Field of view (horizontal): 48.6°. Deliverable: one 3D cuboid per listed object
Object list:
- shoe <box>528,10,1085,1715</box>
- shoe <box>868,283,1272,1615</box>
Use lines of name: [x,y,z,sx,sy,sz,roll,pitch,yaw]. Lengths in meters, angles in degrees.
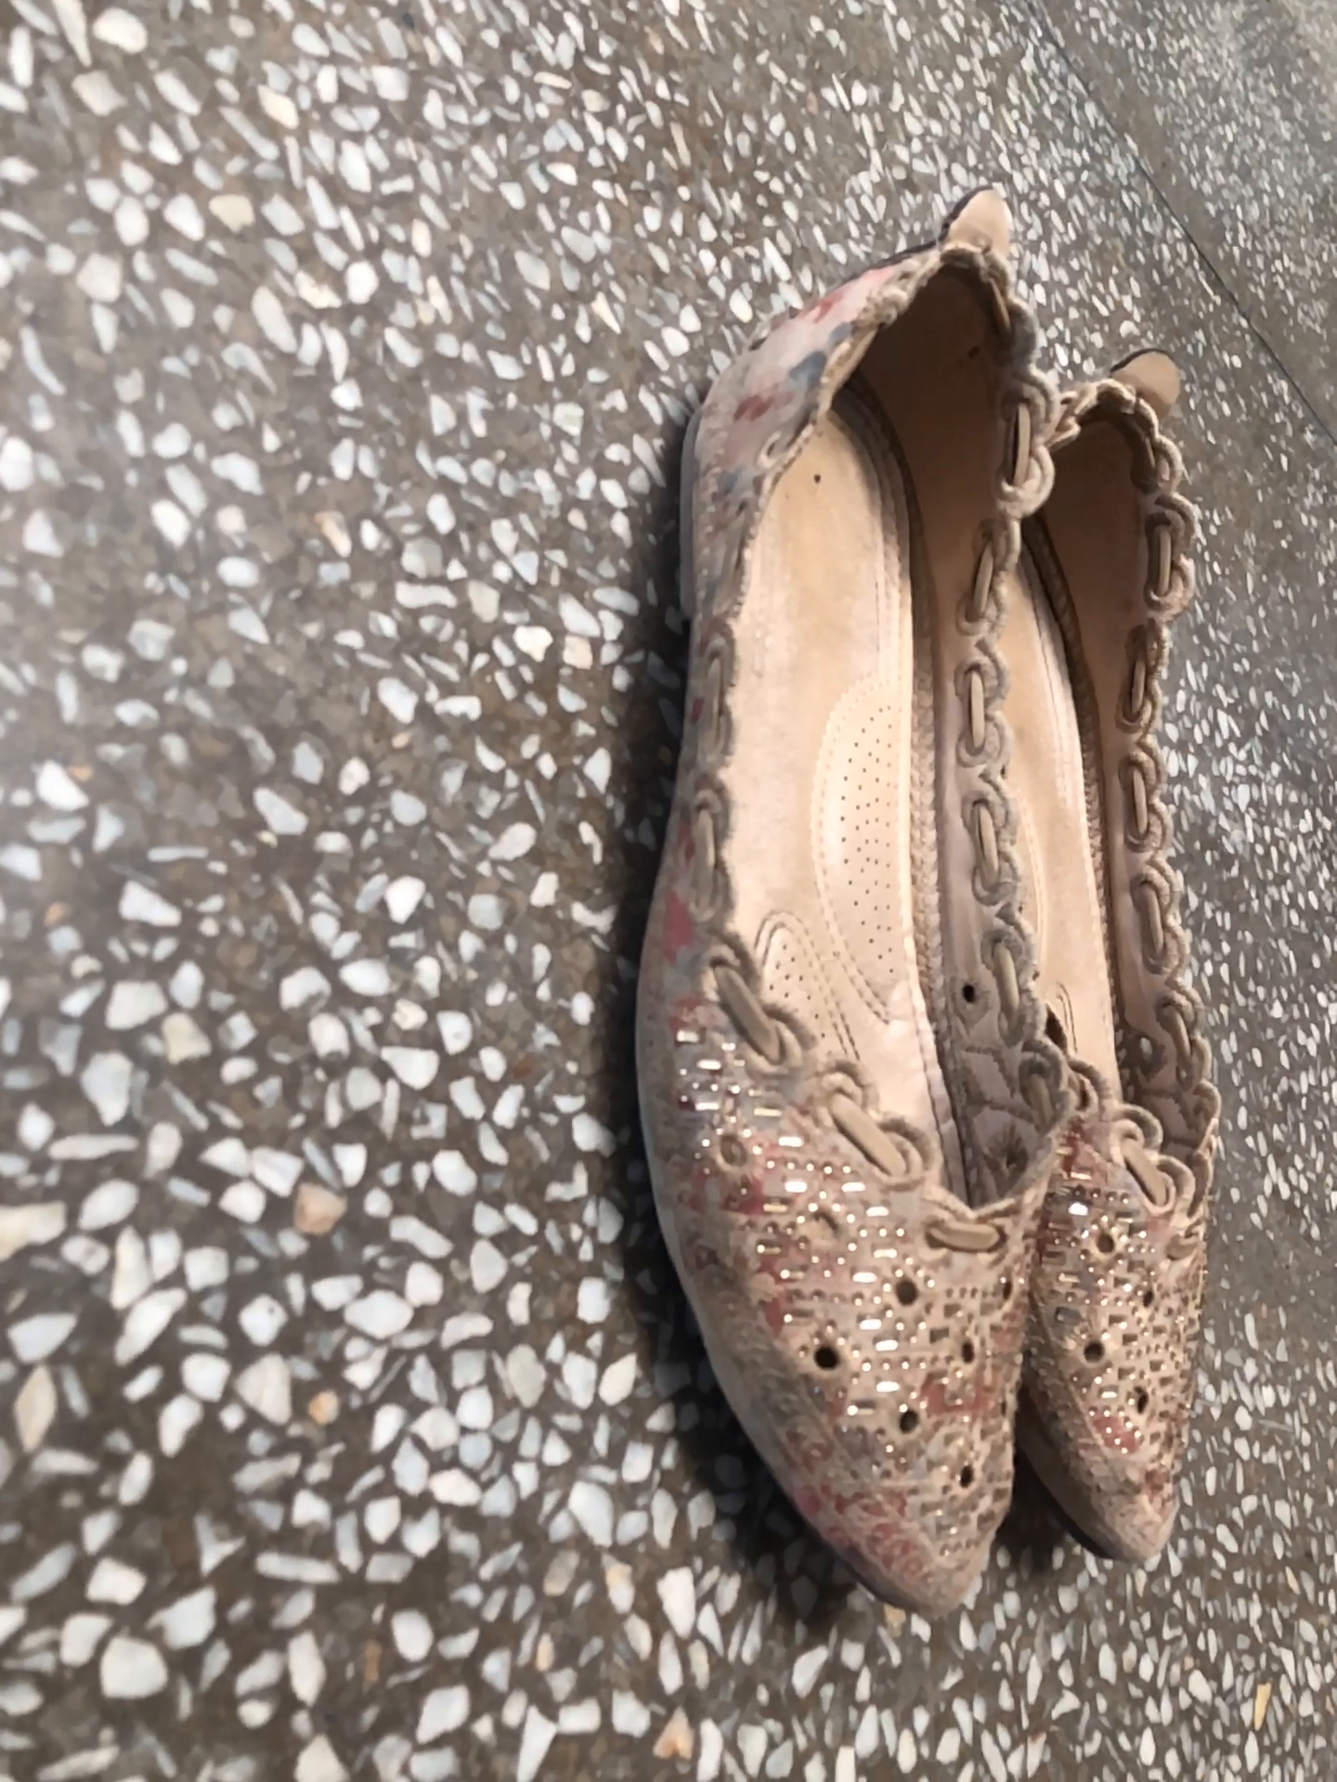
shoe: [0.023,-0.014,0.278,0.090,0.040,0.280,14,68,-45]
shoe: [0.091,0.009,0.341,0.090,0.040,0.270,14,72,-45]
